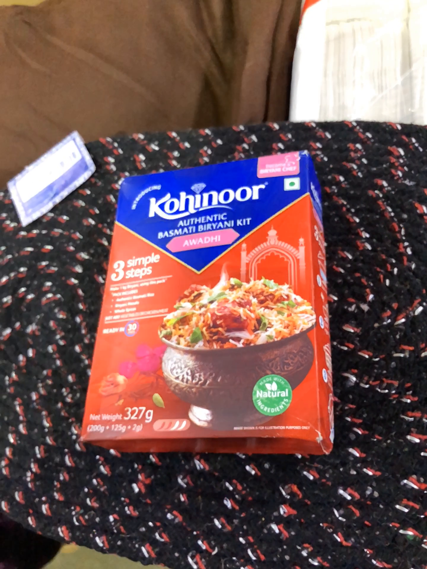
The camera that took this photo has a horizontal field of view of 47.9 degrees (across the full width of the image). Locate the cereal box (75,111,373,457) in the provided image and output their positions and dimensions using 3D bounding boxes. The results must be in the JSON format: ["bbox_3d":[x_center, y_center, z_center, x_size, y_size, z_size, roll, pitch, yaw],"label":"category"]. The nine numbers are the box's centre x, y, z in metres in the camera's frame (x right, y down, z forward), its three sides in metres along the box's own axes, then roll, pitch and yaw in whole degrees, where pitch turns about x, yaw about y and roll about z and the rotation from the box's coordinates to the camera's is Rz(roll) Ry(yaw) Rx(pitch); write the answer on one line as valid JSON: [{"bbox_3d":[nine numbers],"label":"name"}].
[{"bbox_3d":[0.007,-0.001,0.272,0.140,0.040,0.181,-6,64,19],"label":"cereal box"}]
